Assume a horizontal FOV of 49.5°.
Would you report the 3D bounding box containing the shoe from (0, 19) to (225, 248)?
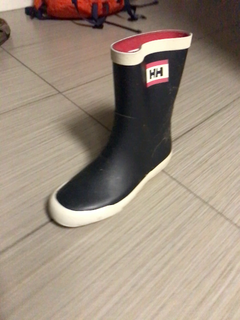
[{"bbox_3d":[0.009,-0.051,0.383,0.102,0.217,0.280,34,52,31],"label":"shoe"}]
